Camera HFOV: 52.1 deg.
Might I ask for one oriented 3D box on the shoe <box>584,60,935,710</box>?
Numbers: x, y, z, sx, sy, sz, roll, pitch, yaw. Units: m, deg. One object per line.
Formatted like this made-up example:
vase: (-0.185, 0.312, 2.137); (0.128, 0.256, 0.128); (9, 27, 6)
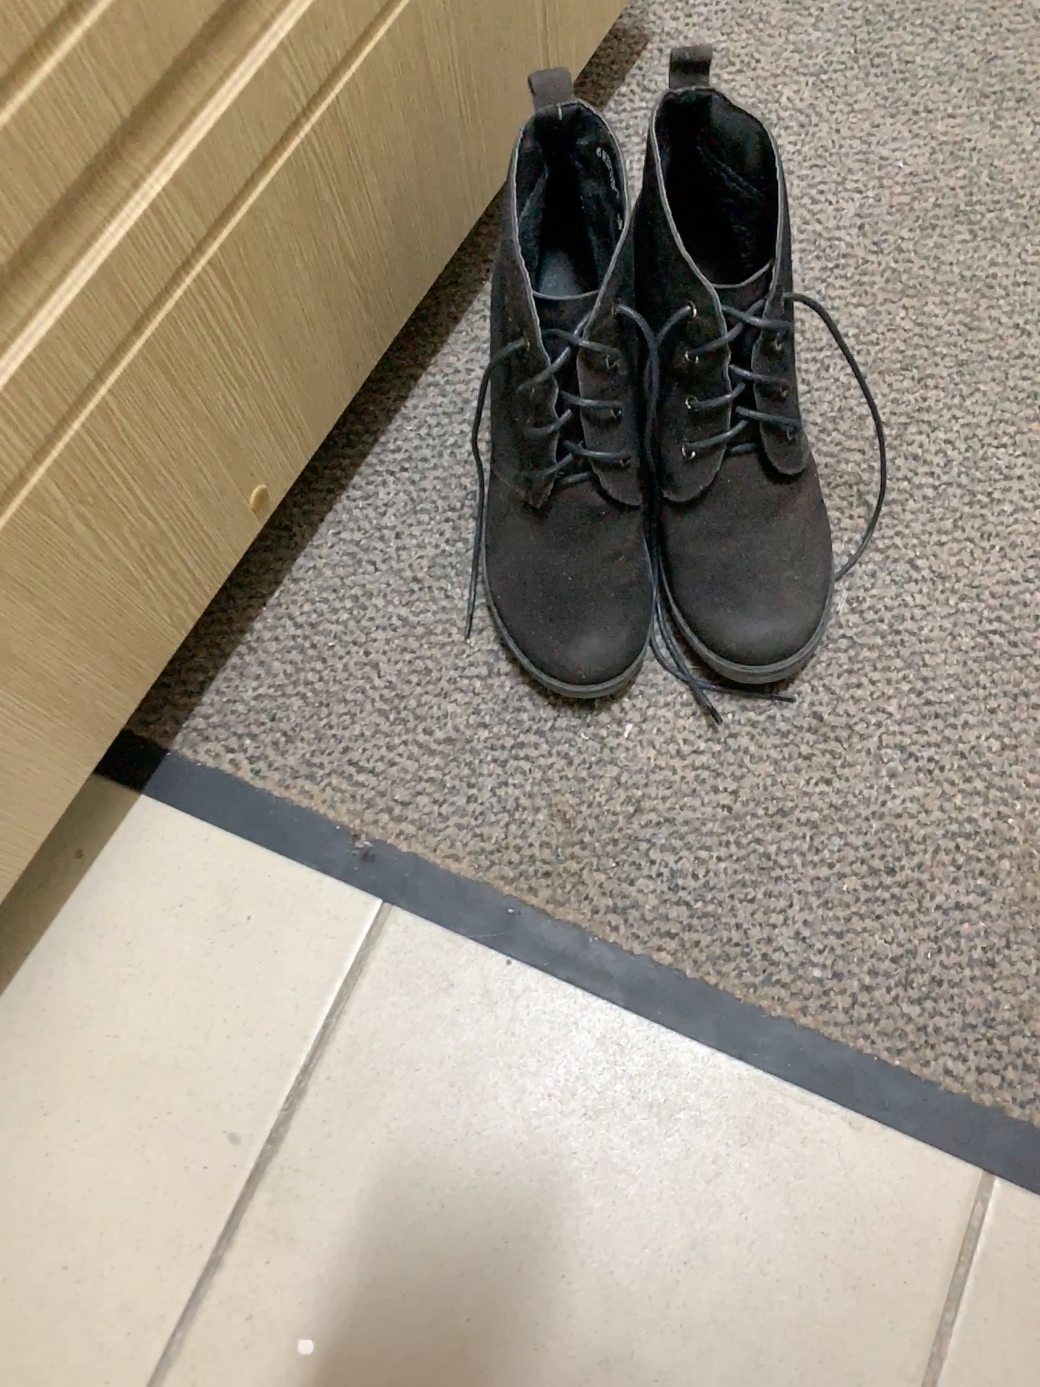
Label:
shoe: (0.094, -0.132, 0.495); (0.080, 0.160, 0.230); (-12, 71, 0)

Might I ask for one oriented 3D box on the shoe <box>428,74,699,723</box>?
shoe: (0.018, -0.124, 0.489); (0.080, 0.160, 0.230); (-7, 71, 2)
